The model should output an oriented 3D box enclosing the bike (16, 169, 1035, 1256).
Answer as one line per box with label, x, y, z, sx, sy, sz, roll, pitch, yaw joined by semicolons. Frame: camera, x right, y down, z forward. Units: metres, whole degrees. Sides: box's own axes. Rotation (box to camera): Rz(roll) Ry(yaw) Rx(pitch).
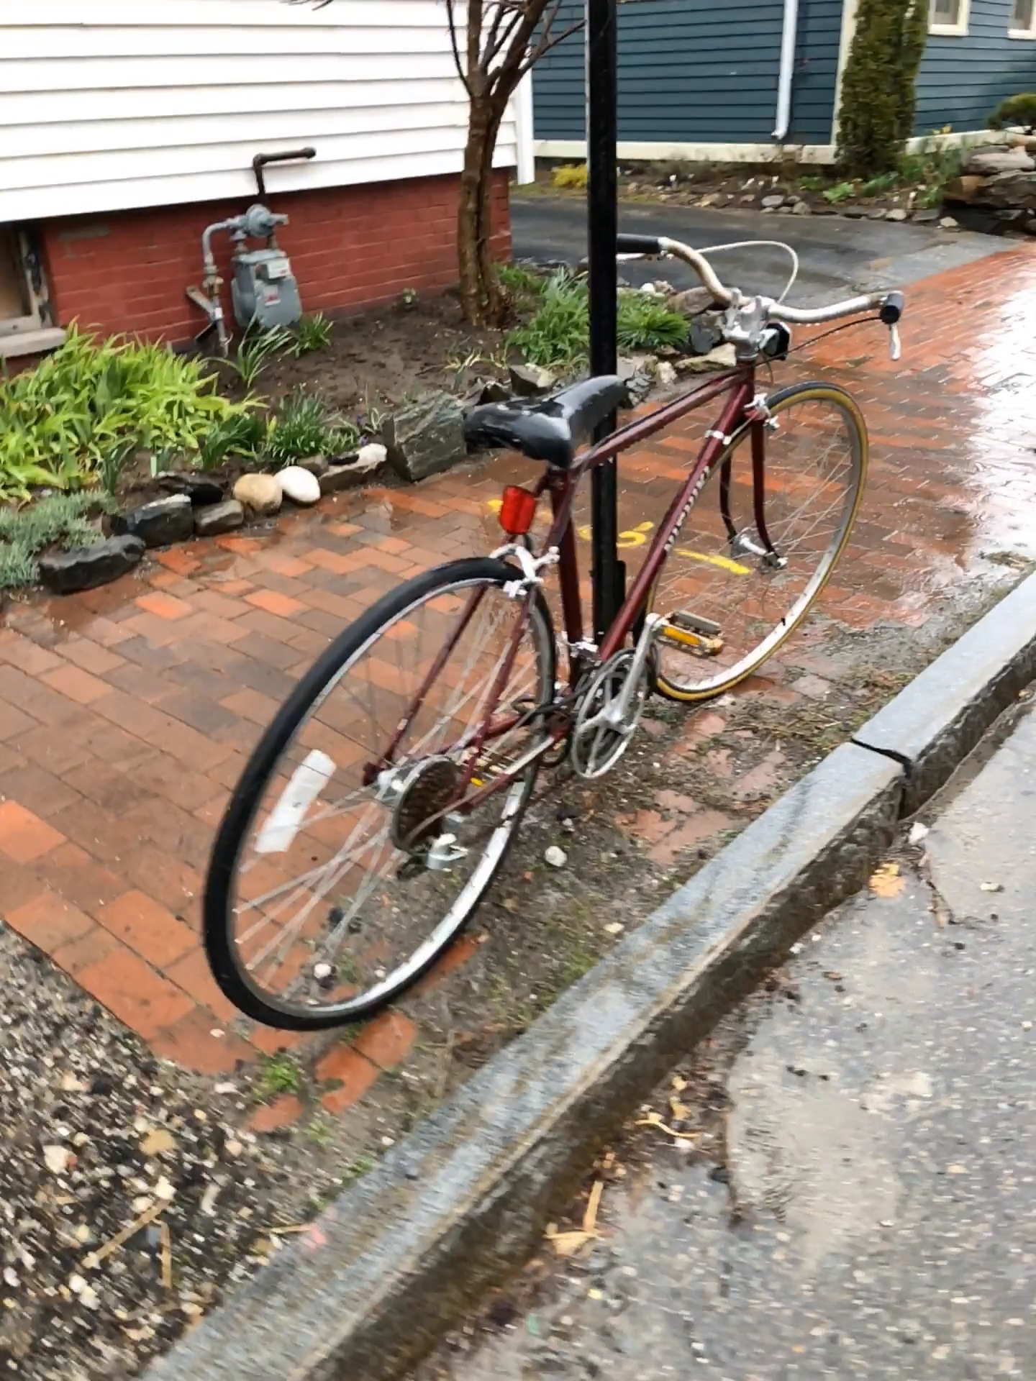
bike;0.230;-0.186;1.698;0.499;0.907;1.614;20;36;34
